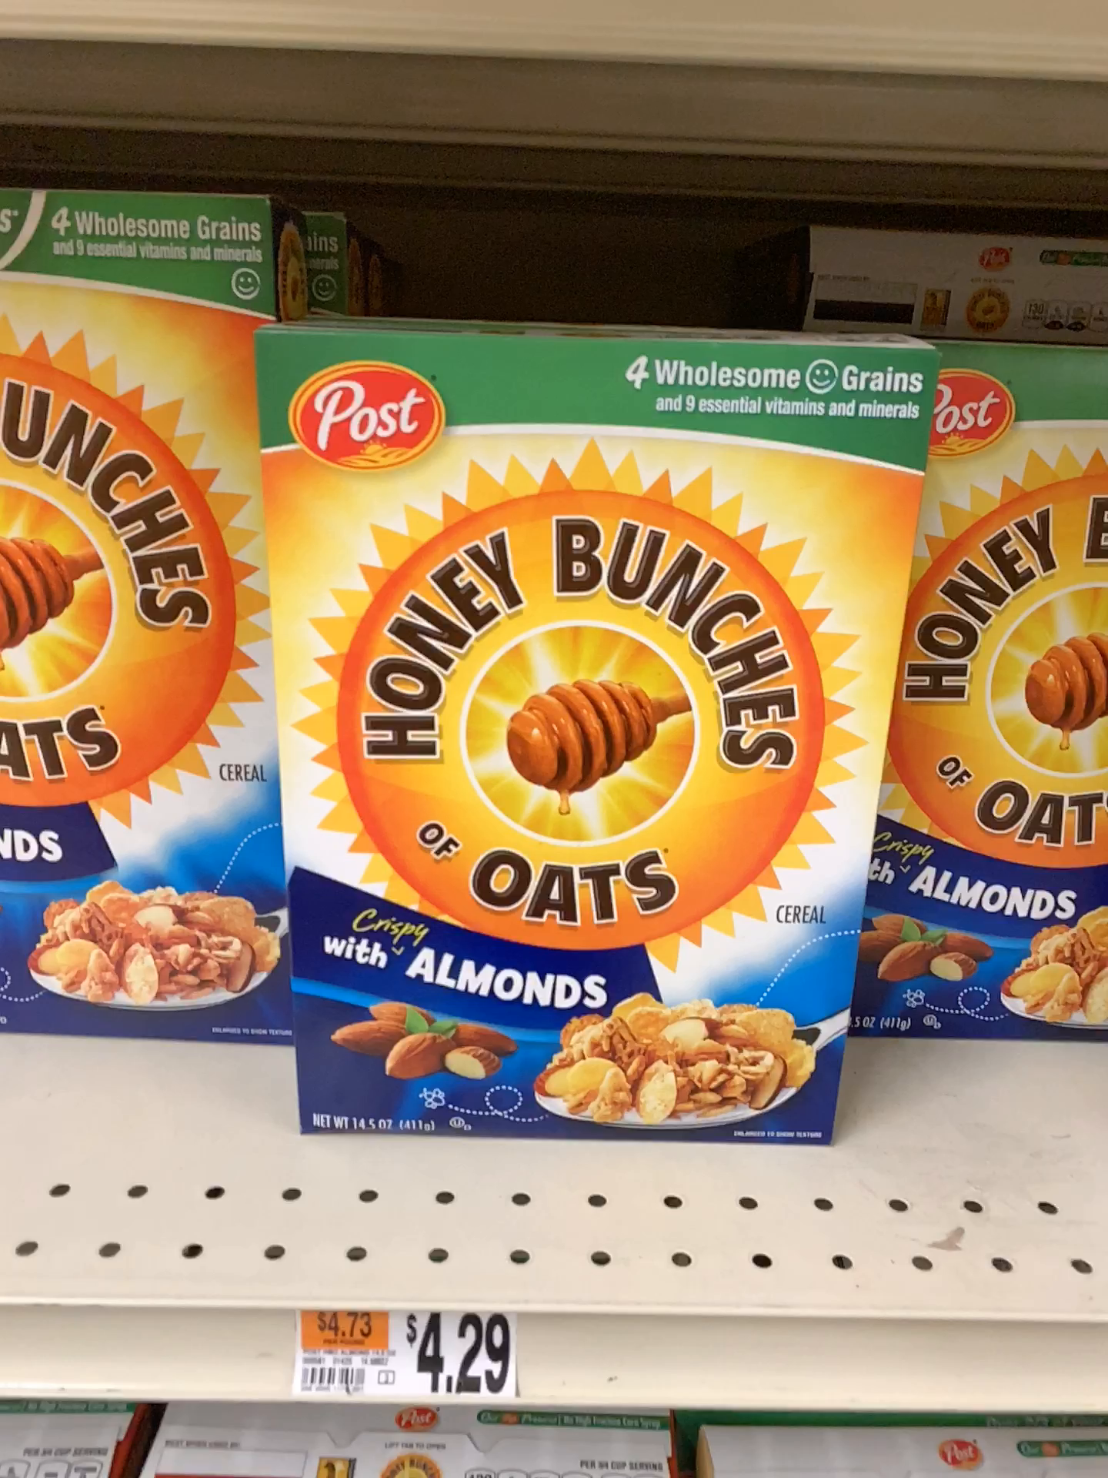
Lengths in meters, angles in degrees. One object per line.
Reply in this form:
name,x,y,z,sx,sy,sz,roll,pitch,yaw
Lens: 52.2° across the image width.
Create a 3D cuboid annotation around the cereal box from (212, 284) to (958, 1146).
cereal box,0.005,0.001,0.380,0.200,0.279,0.060,2,21,0
